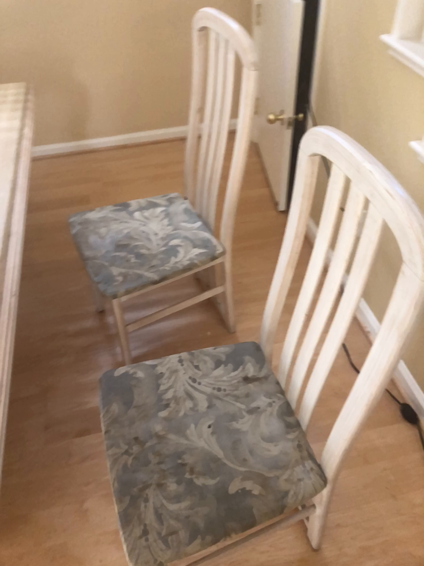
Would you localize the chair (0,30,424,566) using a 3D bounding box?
[{"bbox_3d":[-0.053,0.215,0.937,0.561,1.140,0.483,-13,45,-12],"label":"chair"}]

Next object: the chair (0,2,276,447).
[{"bbox_3d":[-0.194,-0.094,1.395,0.561,1.141,0.483,-18,46,-13],"label":"chair"}]
